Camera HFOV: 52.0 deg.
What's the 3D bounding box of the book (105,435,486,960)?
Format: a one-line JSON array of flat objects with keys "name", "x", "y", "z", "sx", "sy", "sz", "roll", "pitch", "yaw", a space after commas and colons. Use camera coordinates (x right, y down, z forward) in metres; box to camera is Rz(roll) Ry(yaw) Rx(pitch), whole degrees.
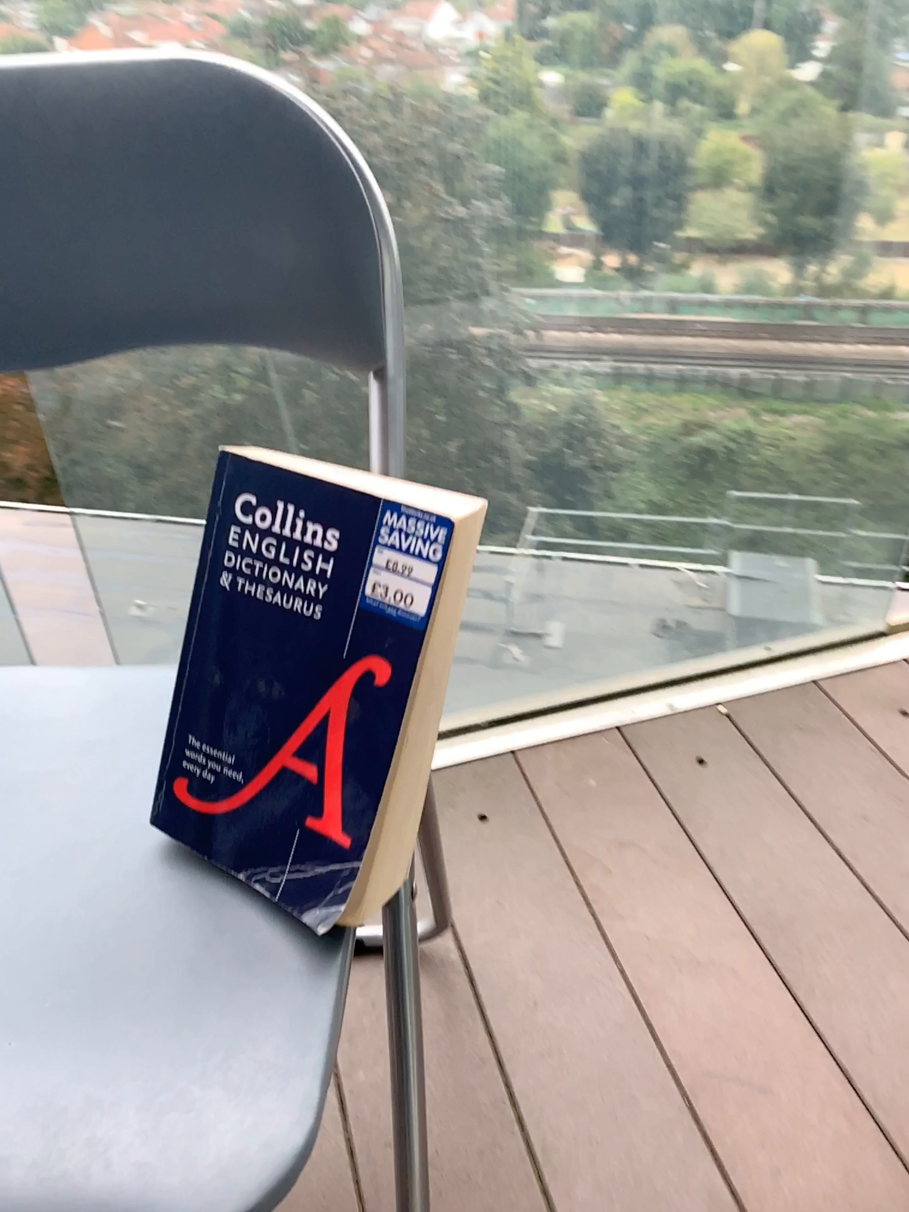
[{"name": "book", "x": -0.081, "y": 0.034, "z": 0.442, "sx": 0.140, "sy": 0.199, "sz": 0.060, "roll": 19, "pitch": 13, "yaw": 29}]
